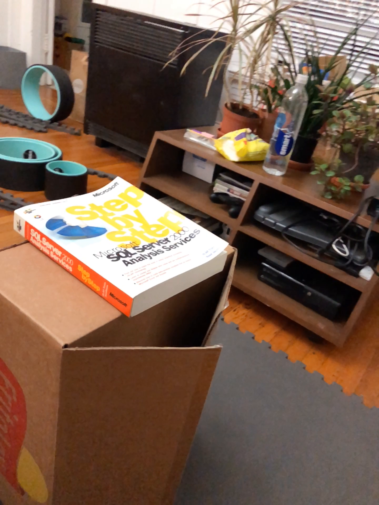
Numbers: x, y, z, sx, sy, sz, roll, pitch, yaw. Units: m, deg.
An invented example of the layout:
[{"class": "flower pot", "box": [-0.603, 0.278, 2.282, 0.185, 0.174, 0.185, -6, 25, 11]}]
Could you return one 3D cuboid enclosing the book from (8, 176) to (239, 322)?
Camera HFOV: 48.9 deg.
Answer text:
[{"class": "book", "box": [-0.086, -0.025, 0.575, 0.240, 0.050, 0.201, 31, 30, 25]}]
